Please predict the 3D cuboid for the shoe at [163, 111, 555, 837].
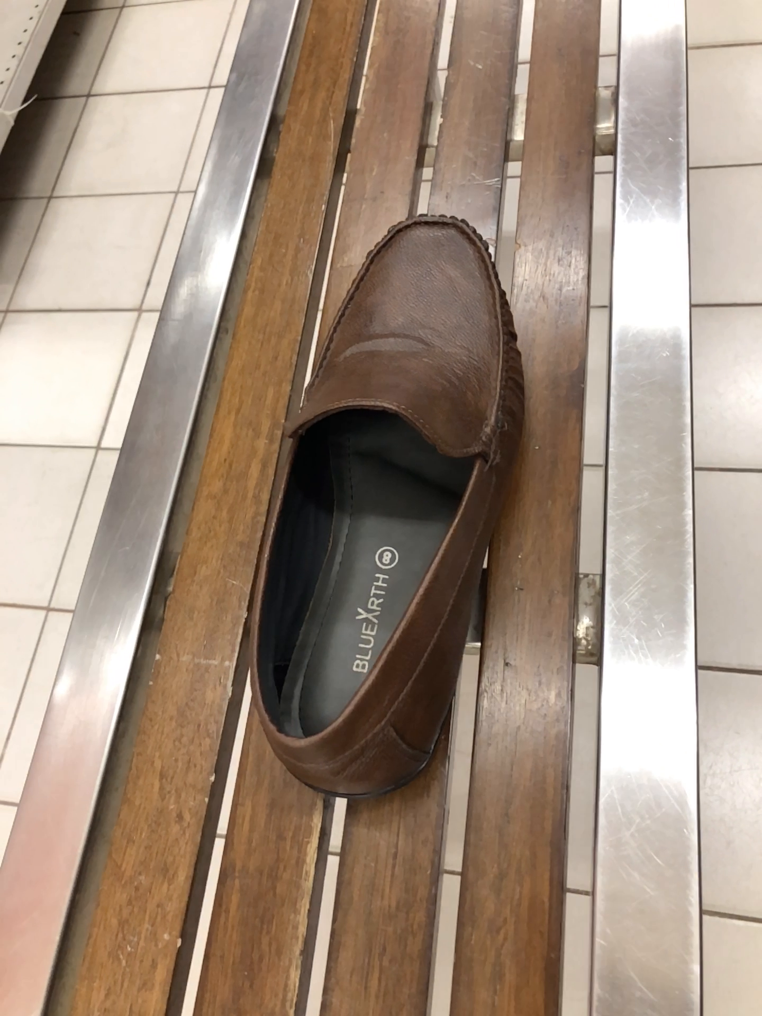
[{"bbox_3d":[0.010,-0.025,0.374,0.104,0.093,0.302,4,67,15],"label":"shoe"}]
